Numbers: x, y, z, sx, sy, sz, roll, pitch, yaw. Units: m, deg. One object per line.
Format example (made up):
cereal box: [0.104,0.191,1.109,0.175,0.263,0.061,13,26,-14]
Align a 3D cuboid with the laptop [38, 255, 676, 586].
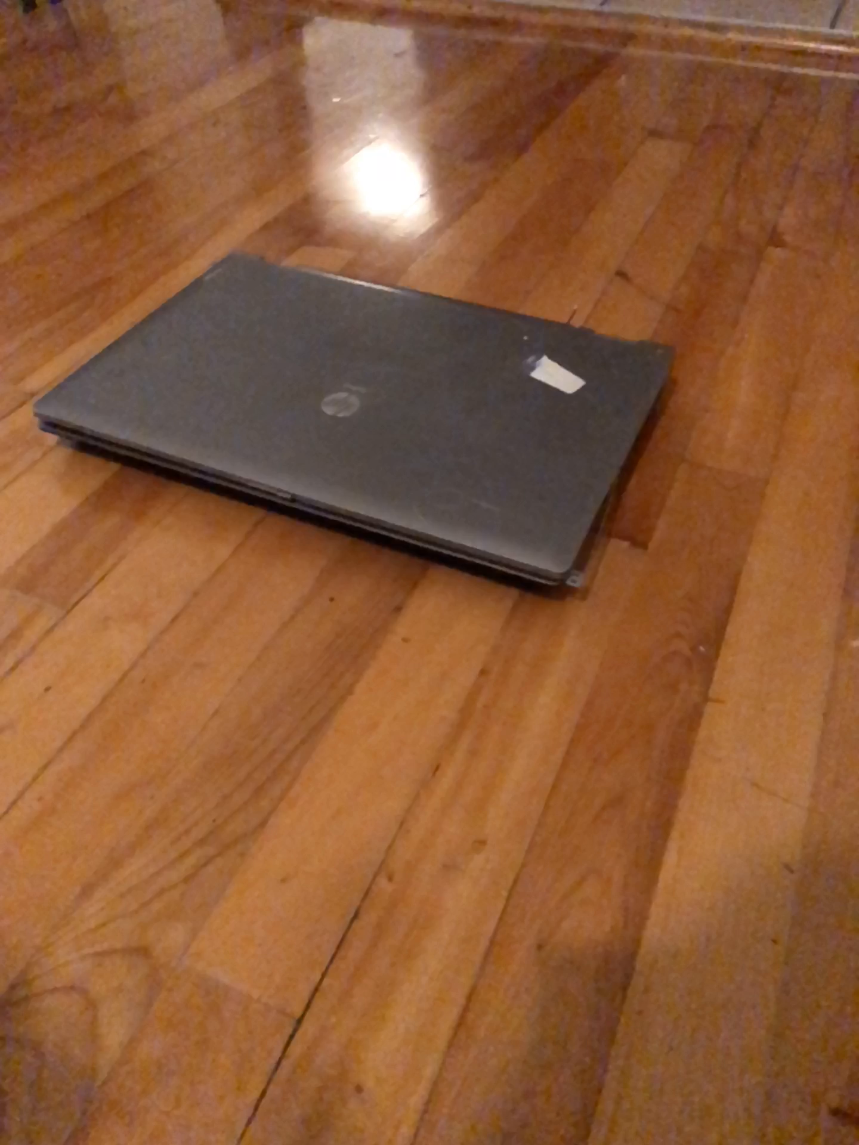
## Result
laptop: [-0.042,-0.127,0.646,0.363,0.010,0.241,17,48,18]
